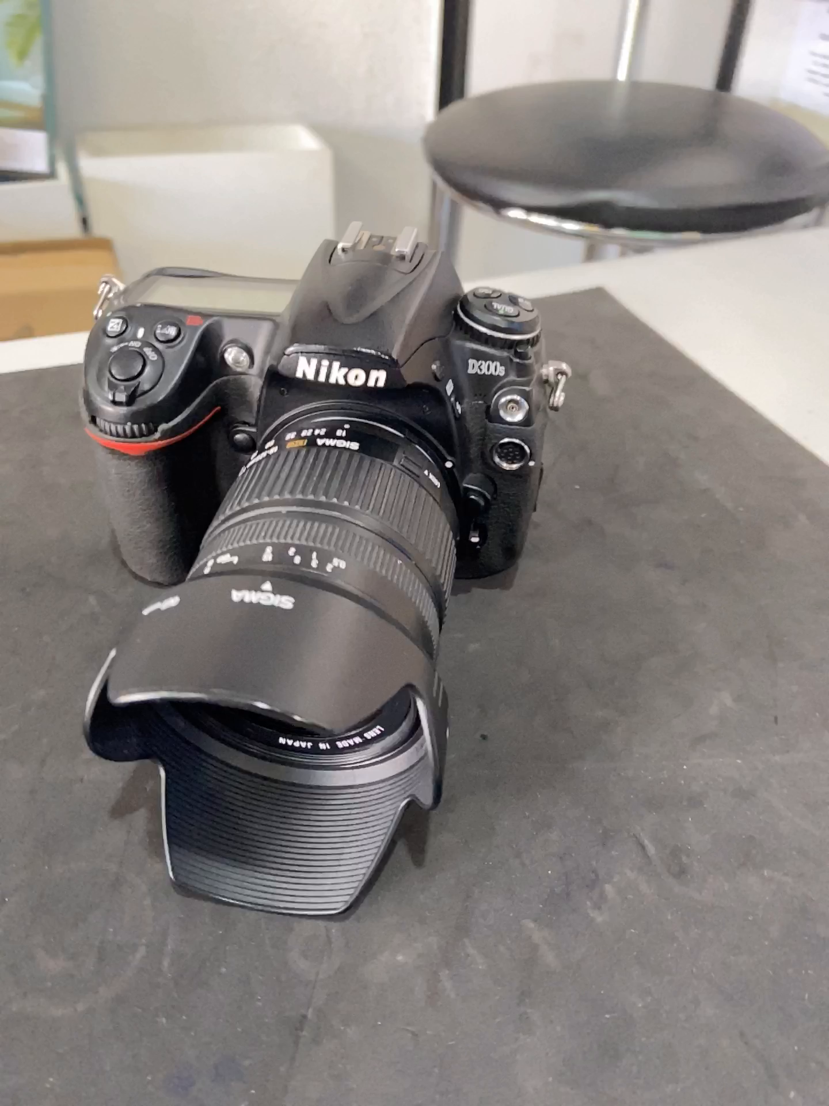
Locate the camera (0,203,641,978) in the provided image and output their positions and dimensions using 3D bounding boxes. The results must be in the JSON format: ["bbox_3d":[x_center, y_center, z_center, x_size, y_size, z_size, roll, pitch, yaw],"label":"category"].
[{"bbox_3d":[-0.033,-0.010,0.248,0.170,0.109,0.181,7,40,7],"label":"camera"}]
